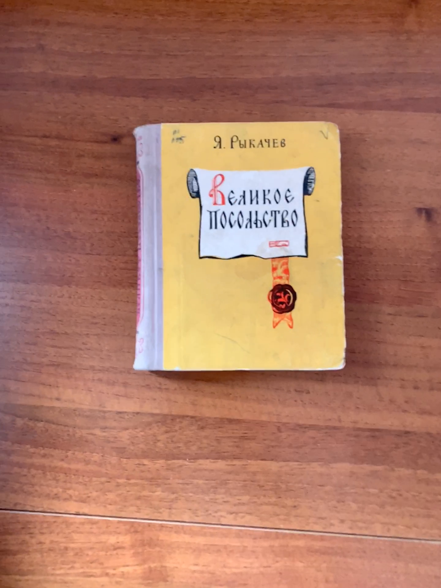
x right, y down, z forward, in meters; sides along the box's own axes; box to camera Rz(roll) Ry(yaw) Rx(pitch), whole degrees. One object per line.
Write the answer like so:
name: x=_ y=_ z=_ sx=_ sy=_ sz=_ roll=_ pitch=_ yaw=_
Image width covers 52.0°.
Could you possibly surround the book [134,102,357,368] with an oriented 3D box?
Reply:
book: x=0.016 y=-0.038 z=0.300 sx=0.142 sy=0.023 sz=0.170 roll=0 pitch=89 yaw=0
